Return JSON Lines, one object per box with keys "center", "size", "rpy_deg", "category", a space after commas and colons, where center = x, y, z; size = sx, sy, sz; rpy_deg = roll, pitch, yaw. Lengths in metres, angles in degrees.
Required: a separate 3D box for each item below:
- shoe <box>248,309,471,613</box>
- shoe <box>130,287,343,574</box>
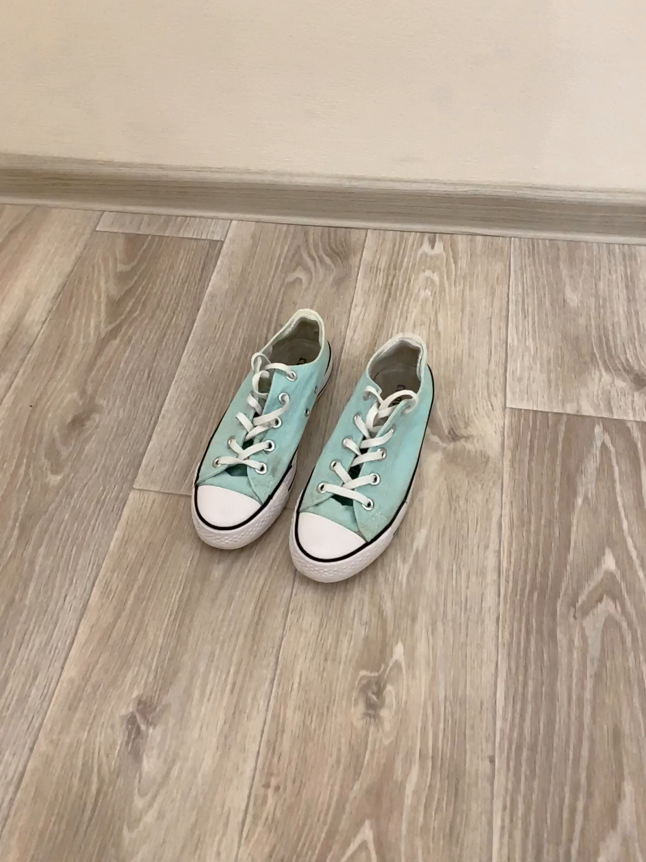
{"center": [0.040, 0.014, 0.571], "size": [0.100, 0.060, 0.251], "rpy_deg": [18, 59, 15], "category": "shoe"}
{"center": [-0.064, -0.011, 0.586], "size": [0.092, 0.060, 0.251], "rpy_deg": [13, 58, 13], "category": "shoe"}
